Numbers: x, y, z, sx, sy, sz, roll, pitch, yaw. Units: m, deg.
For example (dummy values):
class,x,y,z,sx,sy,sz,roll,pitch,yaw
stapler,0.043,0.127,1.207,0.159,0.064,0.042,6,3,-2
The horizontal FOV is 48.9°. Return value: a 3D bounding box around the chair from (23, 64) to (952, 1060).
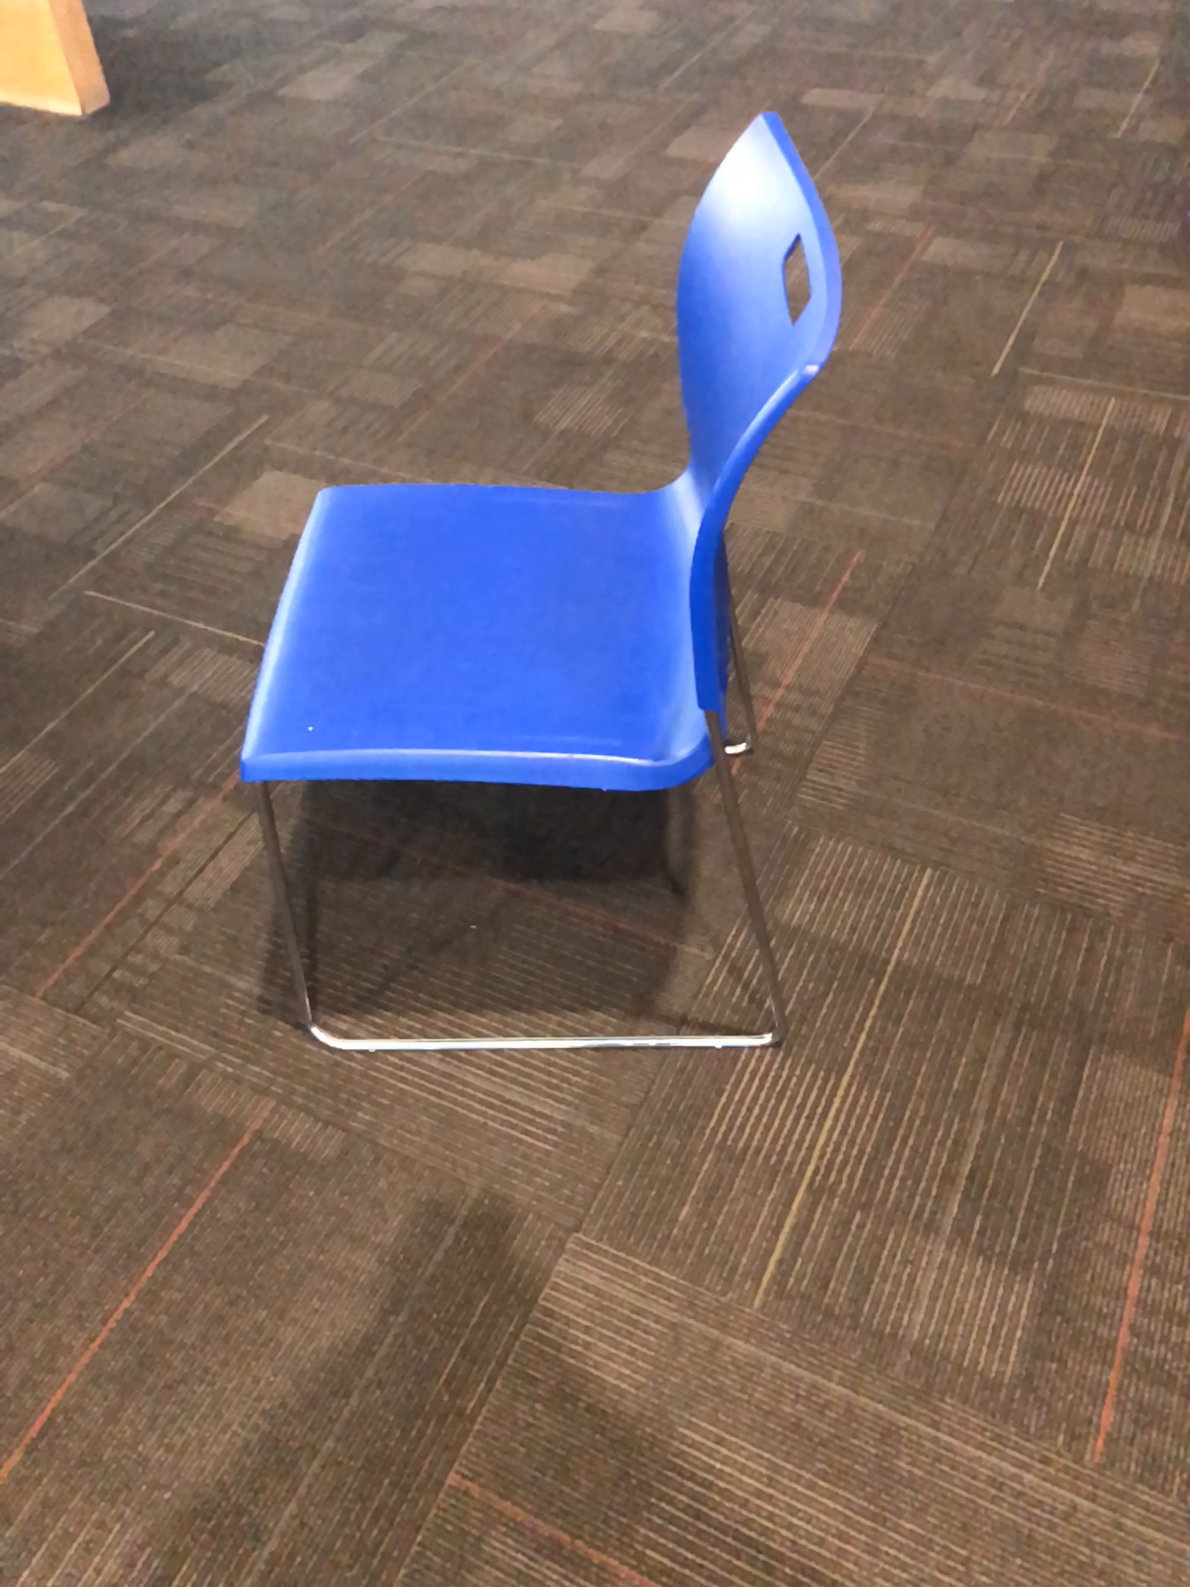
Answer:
class,x,y,z,sx,sy,sz,roll,pitch,yaw
chair,-0.050,-0.200,1.301,0.590,0.757,0.583,-2,45,3
